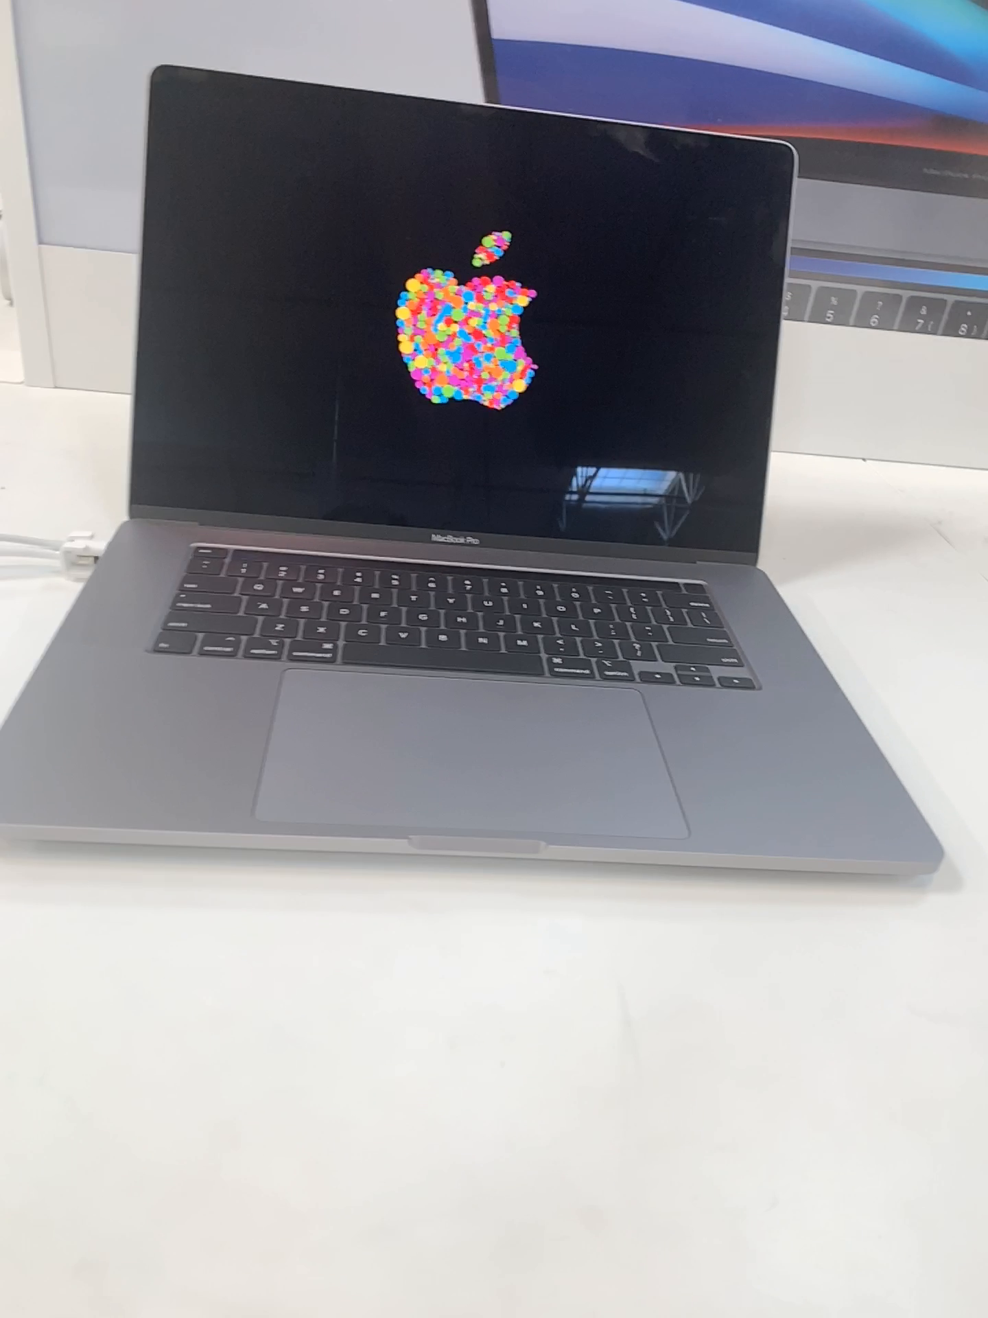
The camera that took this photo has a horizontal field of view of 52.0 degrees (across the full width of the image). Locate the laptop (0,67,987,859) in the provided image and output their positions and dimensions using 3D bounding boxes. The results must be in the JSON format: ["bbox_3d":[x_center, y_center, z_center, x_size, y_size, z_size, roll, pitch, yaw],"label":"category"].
[{"bbox_3d":[0.001,-0.114,0.440,0.341,0.203,0.347,3,31,-7],"label":"laptop"}]
